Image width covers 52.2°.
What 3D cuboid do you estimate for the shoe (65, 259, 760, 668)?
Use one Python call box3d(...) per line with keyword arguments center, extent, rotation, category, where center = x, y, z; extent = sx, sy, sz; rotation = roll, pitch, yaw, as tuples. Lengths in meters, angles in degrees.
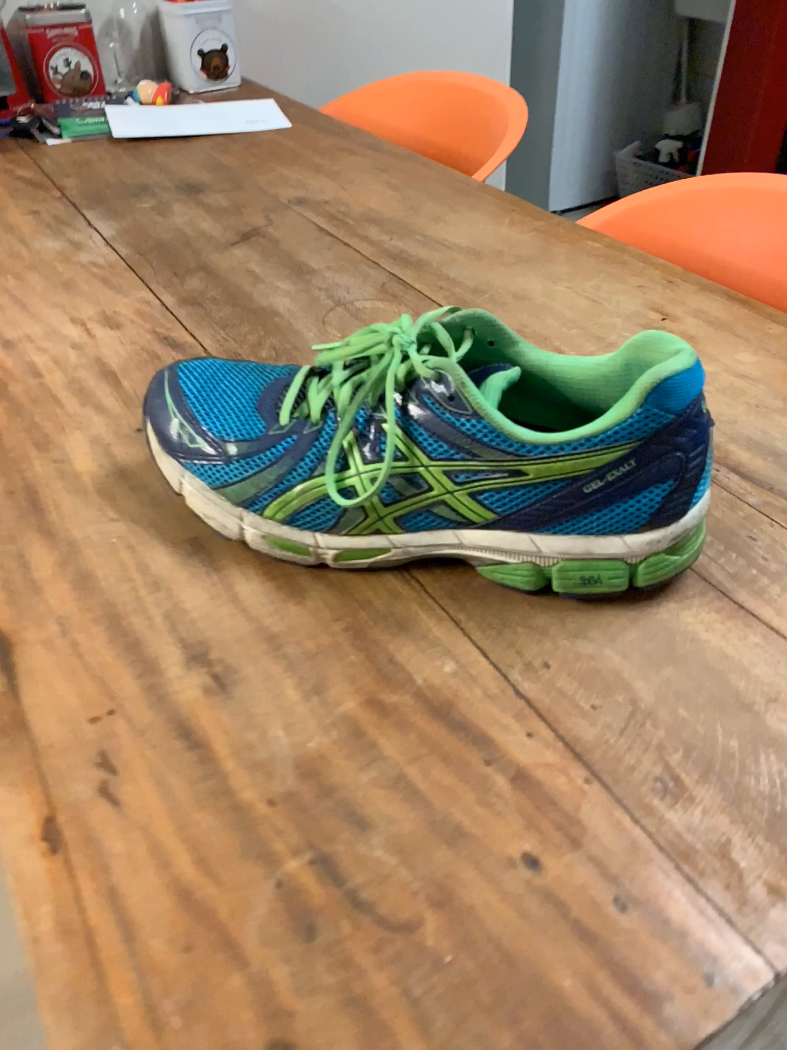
box3d(center=(0.010, -0.042, 0.408), extent=(0.300, 0.119, 0.111), rotation=(11, 43, 16), category="shoe")
